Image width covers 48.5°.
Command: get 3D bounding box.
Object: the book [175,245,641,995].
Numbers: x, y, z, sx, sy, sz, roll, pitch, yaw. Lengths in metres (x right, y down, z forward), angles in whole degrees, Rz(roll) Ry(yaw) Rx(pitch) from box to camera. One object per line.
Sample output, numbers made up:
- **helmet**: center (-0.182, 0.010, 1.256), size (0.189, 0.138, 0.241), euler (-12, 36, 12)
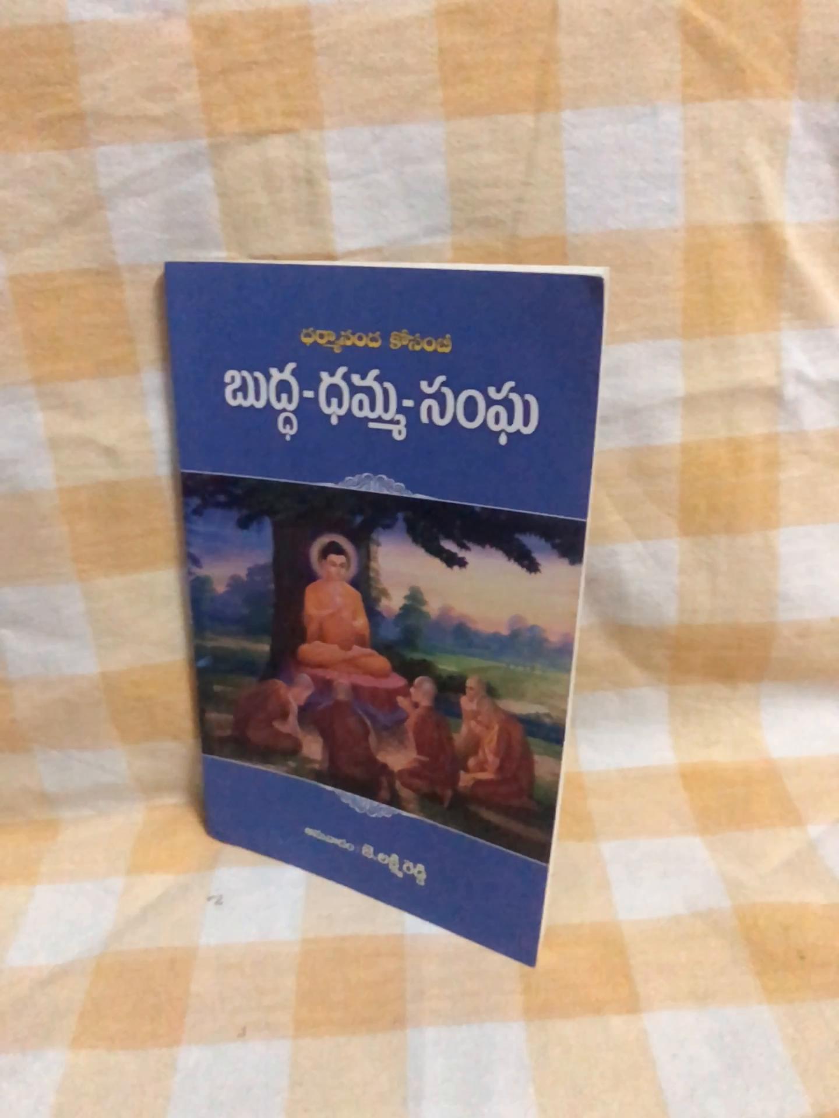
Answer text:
- **book**: center (-0.015, 0.014, 0.304), size (0.150, 0.219, 0.020), euler (11, 16, 28)
